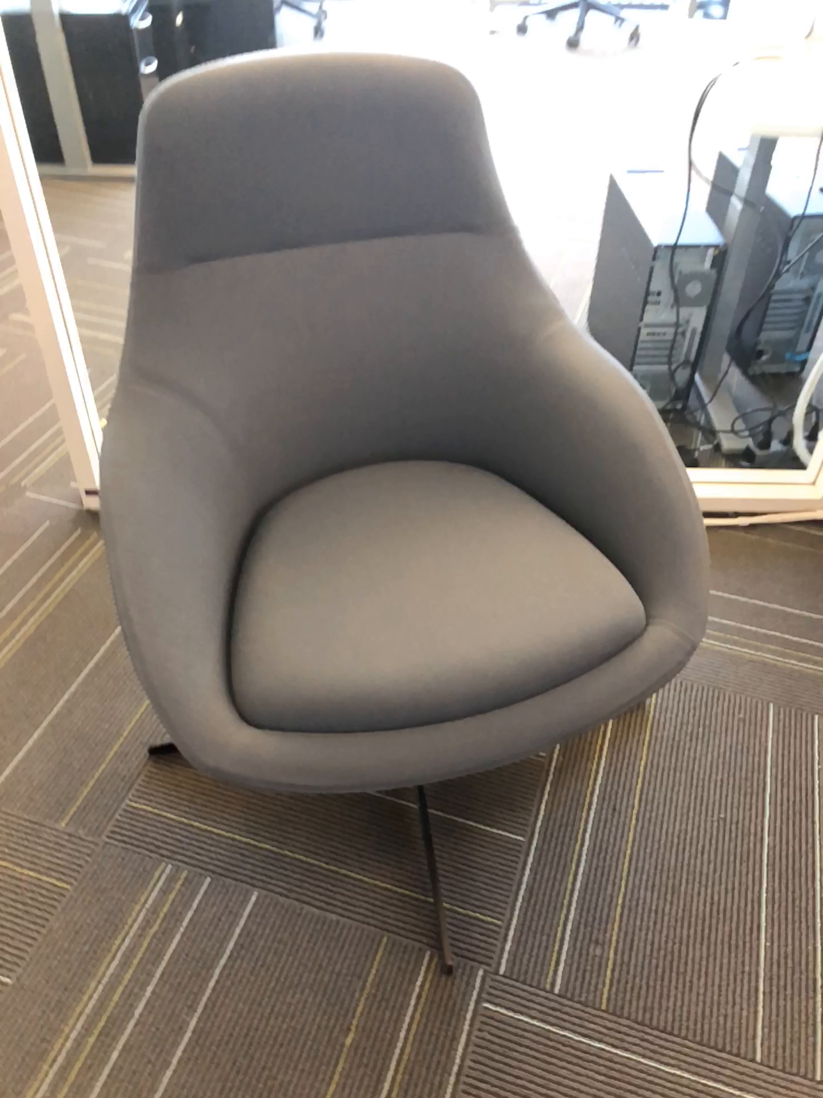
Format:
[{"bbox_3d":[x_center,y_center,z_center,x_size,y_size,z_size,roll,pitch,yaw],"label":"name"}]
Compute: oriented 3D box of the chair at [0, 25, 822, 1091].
[{"bbox_3d":[-0.061,-0.057,1.307,0.930,0.995,0.965,-10,43,-13],"label":"chair"}]
